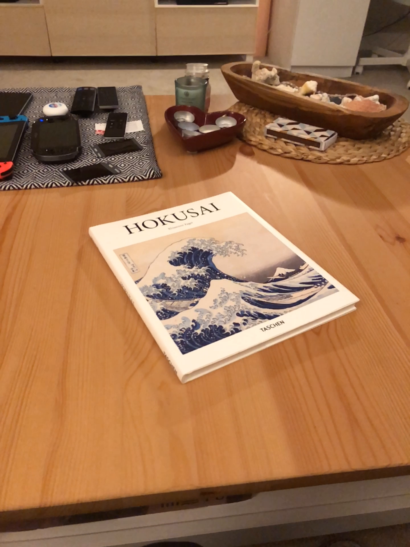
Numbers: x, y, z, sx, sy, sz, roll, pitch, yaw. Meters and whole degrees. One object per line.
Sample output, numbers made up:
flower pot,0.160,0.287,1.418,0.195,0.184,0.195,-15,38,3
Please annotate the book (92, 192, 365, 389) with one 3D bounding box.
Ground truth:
book,0.014,-0.007,0.519,0.211,0.020,0.252,-18,43,-24
